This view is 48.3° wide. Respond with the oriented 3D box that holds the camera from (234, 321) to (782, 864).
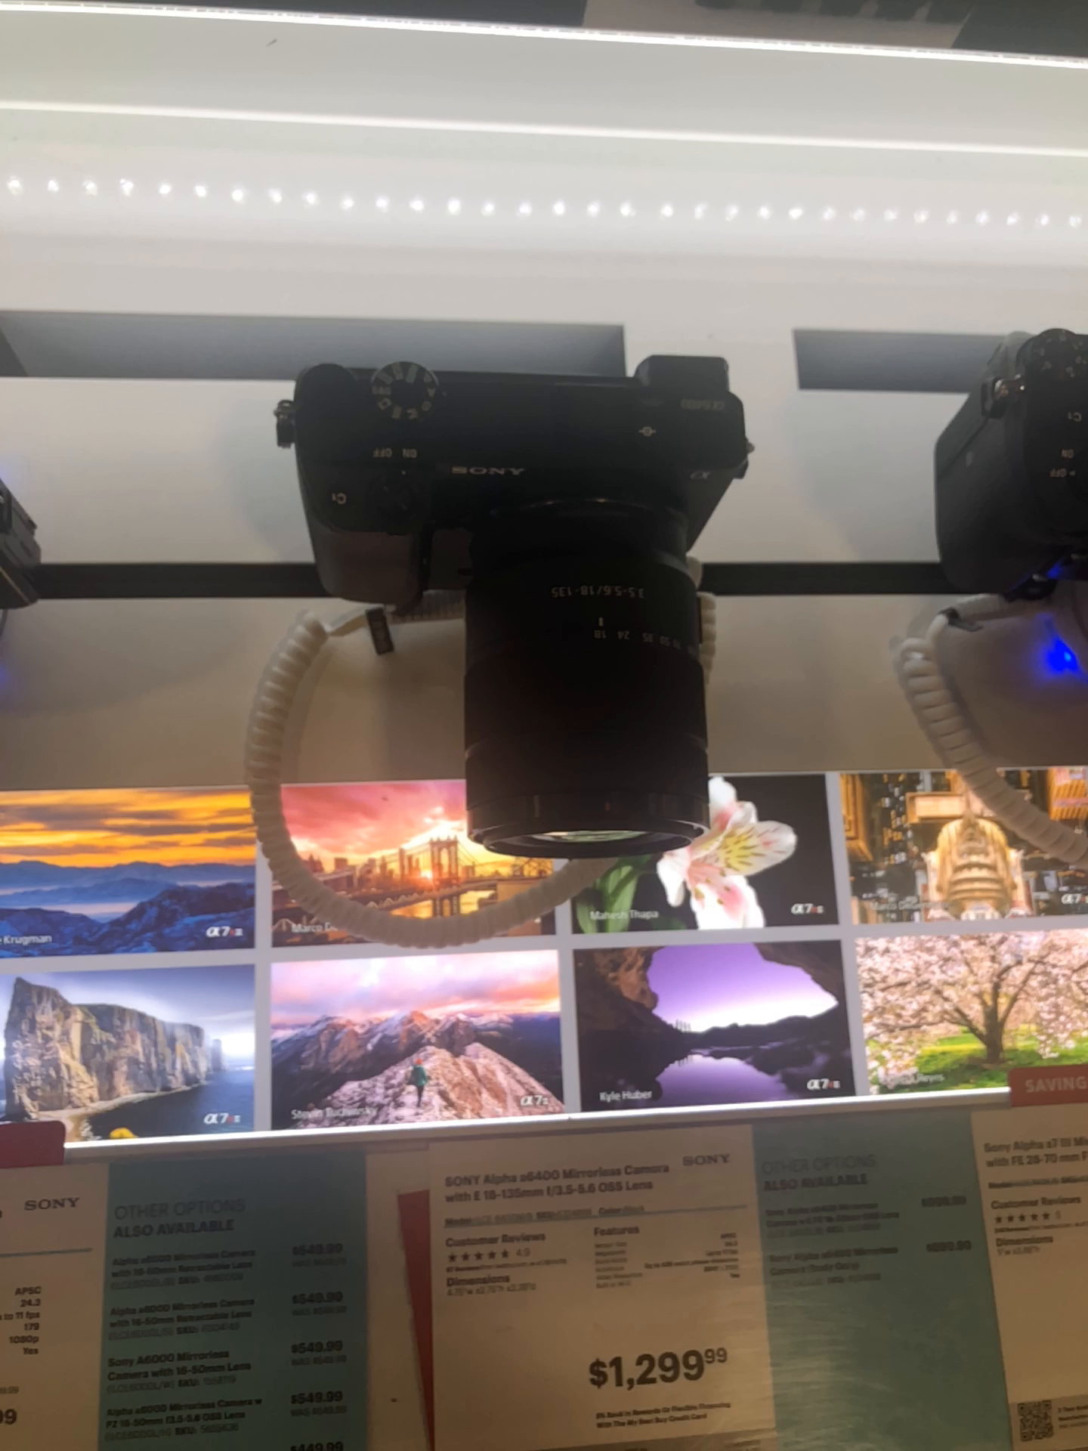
[{"bbox_3d":[-0.012,-0.031,0.334,0.130,0.070,0.130,0,78,-7],"label":"camera"}]
